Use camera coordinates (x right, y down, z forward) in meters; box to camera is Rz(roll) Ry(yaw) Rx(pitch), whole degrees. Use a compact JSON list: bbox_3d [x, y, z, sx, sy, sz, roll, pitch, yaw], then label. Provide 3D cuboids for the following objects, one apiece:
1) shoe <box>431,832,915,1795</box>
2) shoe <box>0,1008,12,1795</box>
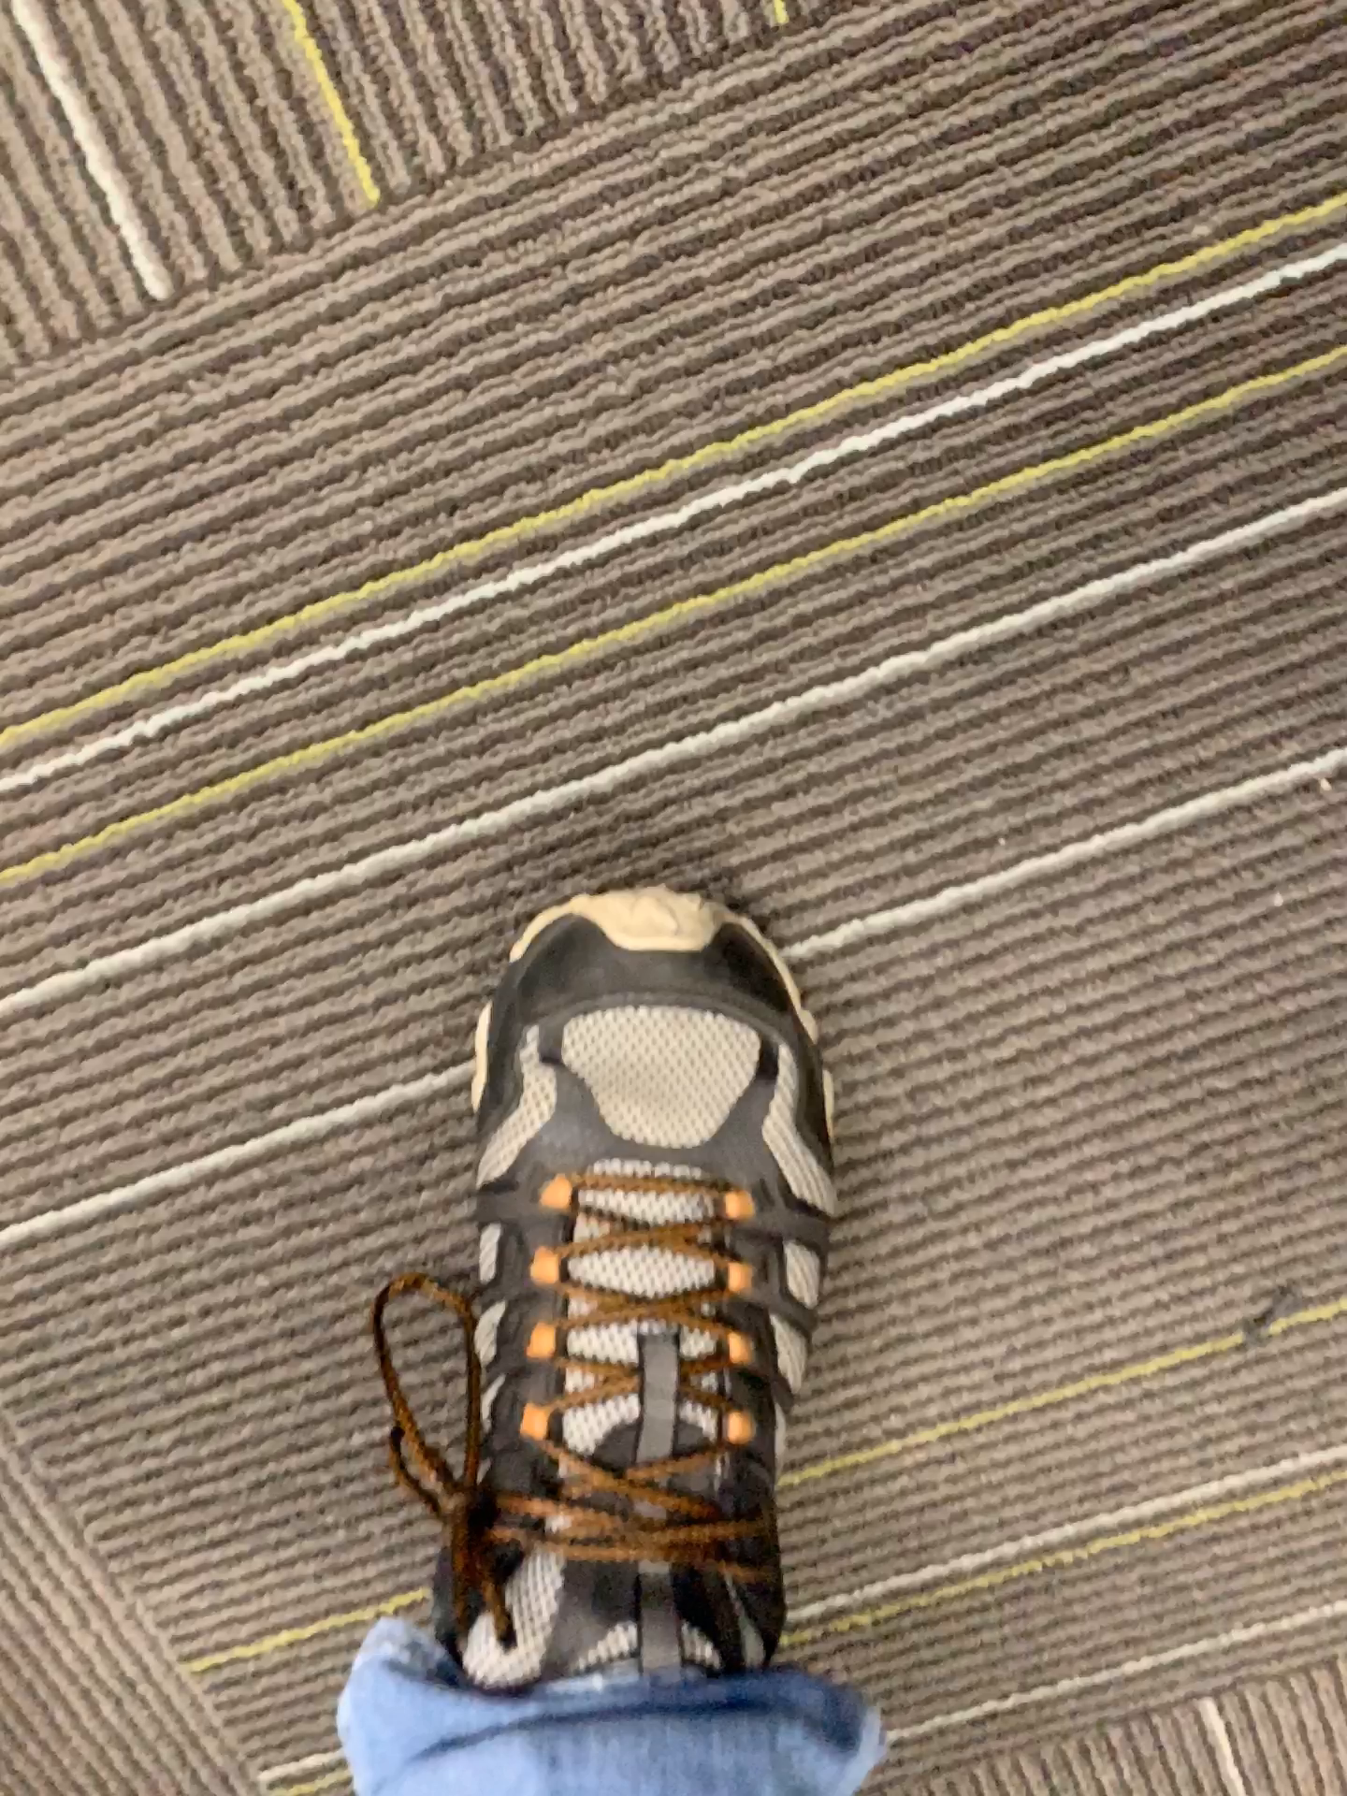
[{"bbox_3d":[-0.011,0.149,0.447,0.122,0.095,0.323,3,111,-3],"label":"shoe"},{"bbox_3d":[-0.374,0.214,0.461,0.125,0.095,0.324,-16,111,4],"label":"shoe"}]
